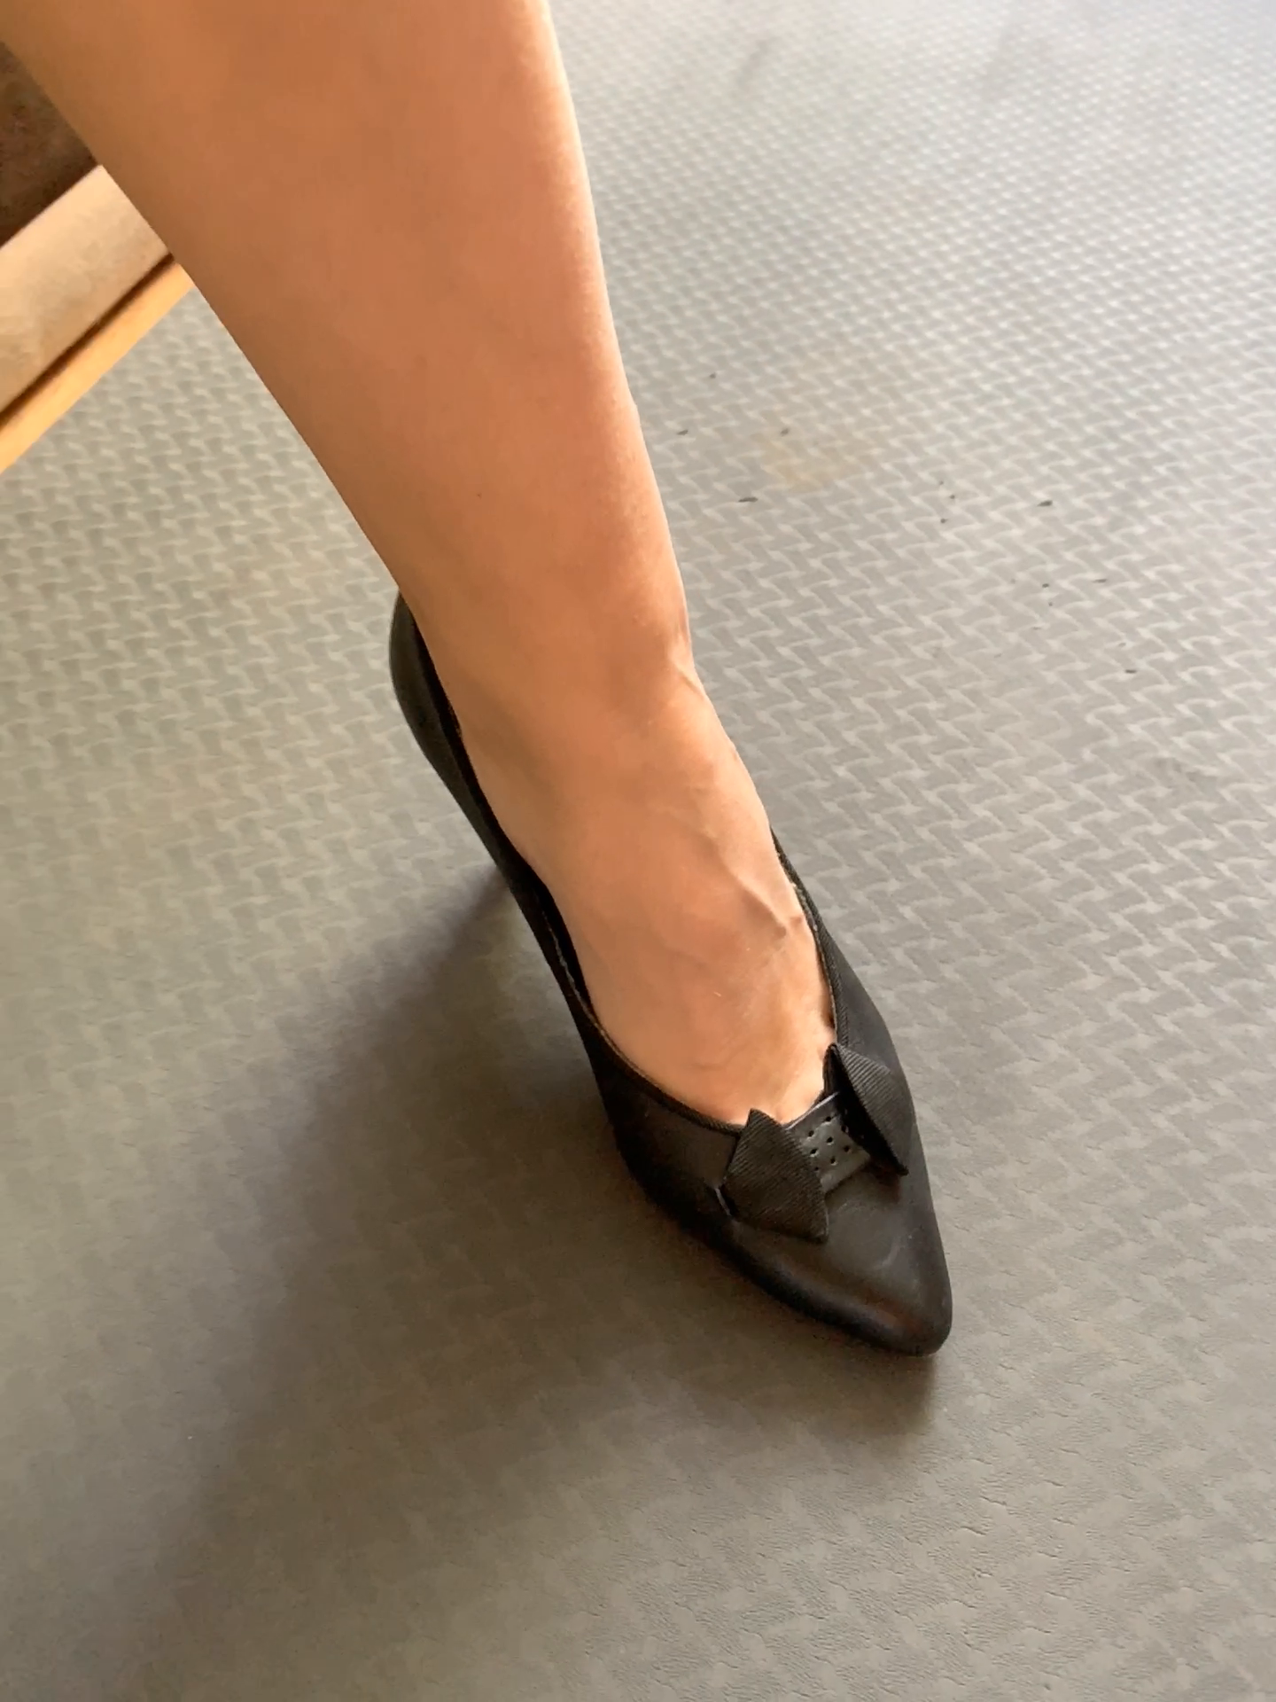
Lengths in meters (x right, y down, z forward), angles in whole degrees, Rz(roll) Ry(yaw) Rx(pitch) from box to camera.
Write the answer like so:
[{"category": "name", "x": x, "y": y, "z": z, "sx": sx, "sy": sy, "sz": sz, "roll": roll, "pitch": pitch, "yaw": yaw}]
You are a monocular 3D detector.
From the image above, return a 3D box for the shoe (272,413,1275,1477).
[{"category": "shoe", "x": 0.015, "y": 0.010, "z": 0.319, "sx": 0.090, "sy": 0.100, "sz": 0.231, "roll": -30, "pitch": 58, "yaw": -20}]
